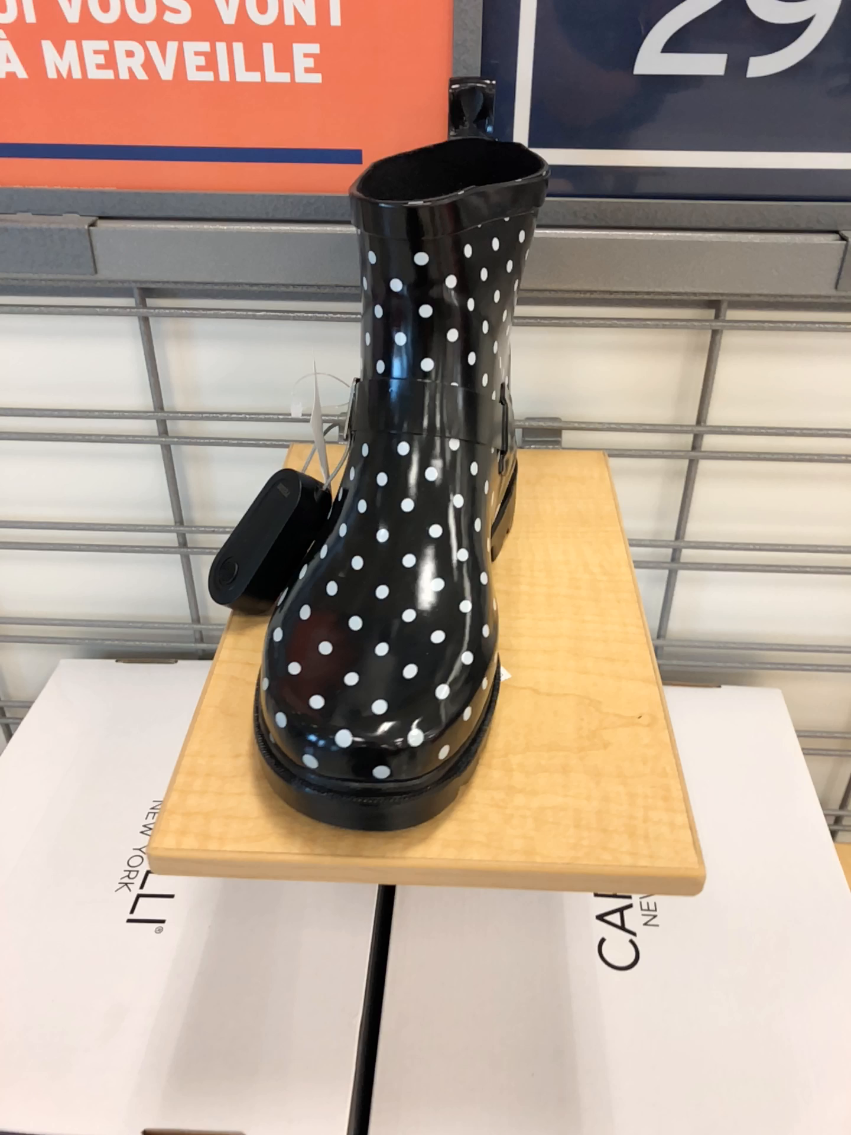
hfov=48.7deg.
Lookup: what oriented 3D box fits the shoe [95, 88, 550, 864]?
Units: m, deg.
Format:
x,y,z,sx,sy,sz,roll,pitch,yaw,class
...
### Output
x,y,z,sx,sy,sz,roll,pitch,yaw,class
-0.009,-0.059,0.362,0.095,0.188,0.262,4,35,6,shoe
